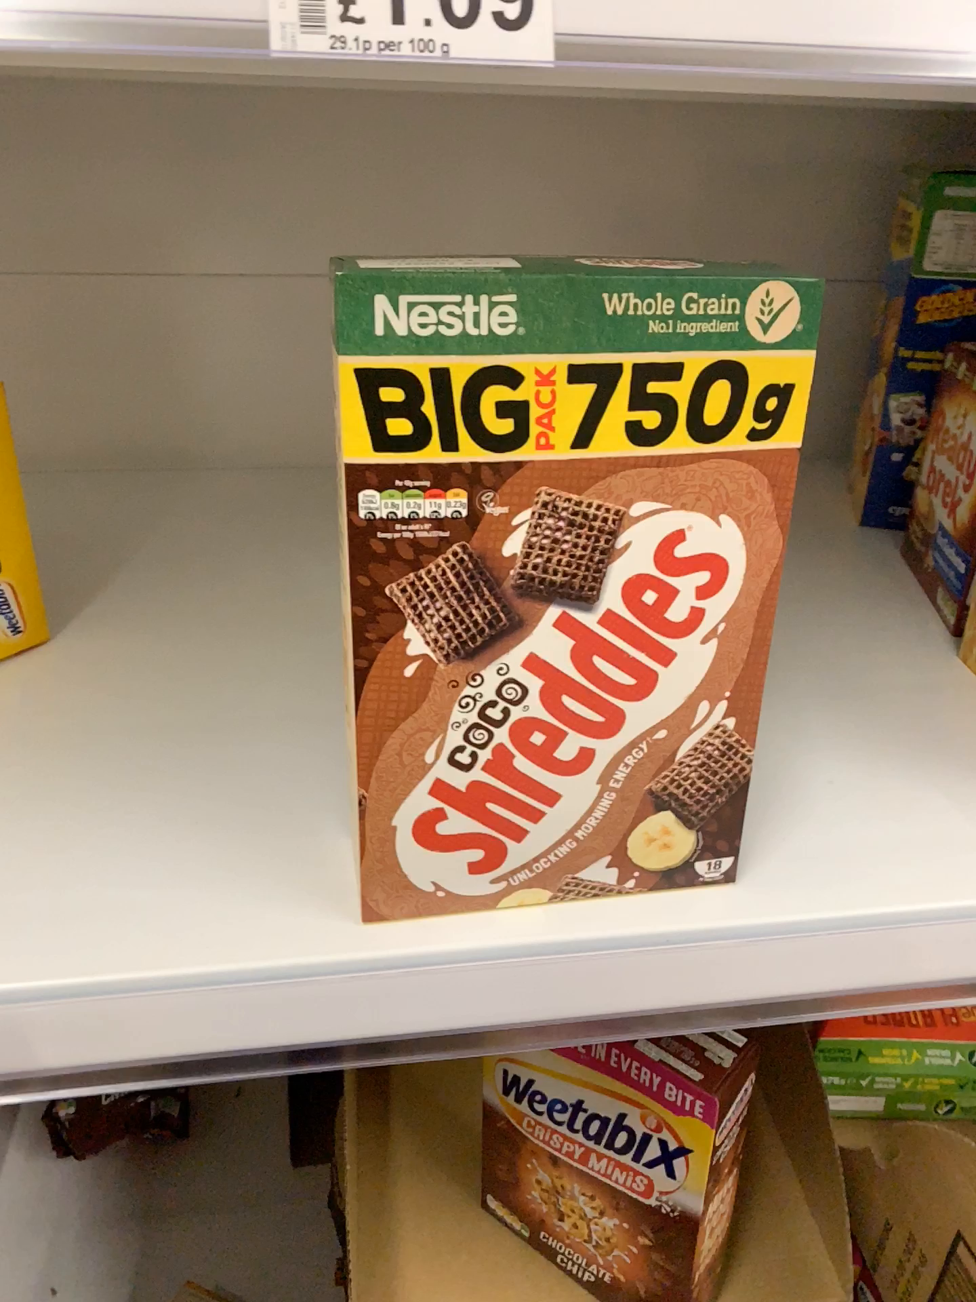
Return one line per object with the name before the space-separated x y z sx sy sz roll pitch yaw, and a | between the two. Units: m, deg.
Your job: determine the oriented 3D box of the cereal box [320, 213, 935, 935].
cereal box | 0.042 -0.027 0.432 0.210 0.287 0.081 -3 27 -10
